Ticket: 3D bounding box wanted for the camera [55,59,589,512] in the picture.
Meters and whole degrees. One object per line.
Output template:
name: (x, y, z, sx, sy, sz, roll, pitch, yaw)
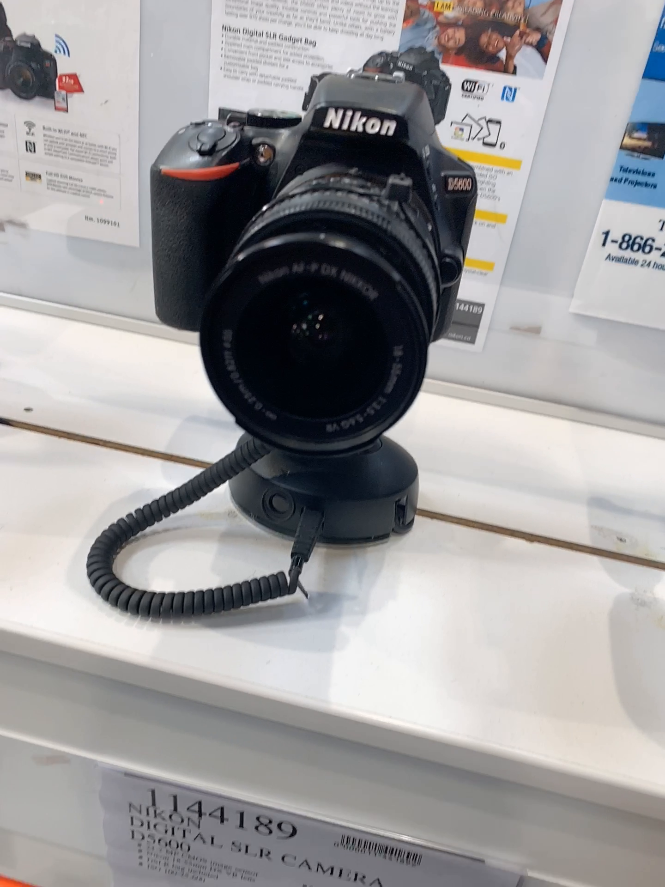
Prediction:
camera: (0.001, -0.065, 0.223, 0.111, 0.090, 0.141, 10, 31, 3)
